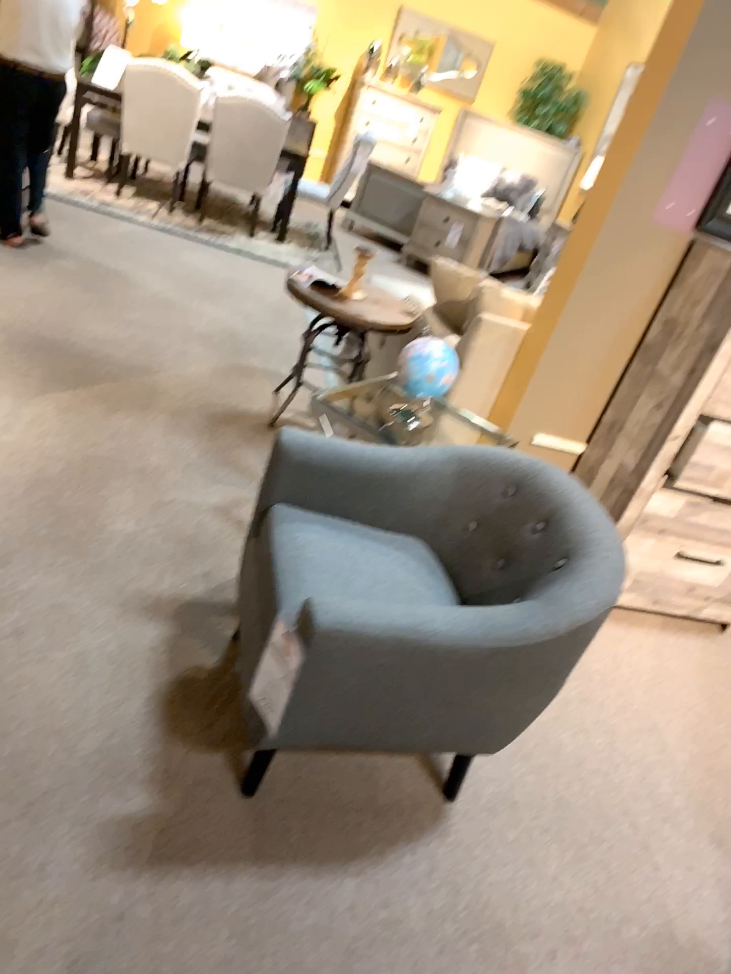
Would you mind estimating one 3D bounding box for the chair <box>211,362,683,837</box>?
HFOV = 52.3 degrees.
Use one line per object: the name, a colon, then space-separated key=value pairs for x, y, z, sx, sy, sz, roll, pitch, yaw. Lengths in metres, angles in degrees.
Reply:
chair: x=0.087 y=0.252 z=1.773 sx=0.742 sy=0.702 sz=0.750 roll=11 pitch=28 yaw=-17
